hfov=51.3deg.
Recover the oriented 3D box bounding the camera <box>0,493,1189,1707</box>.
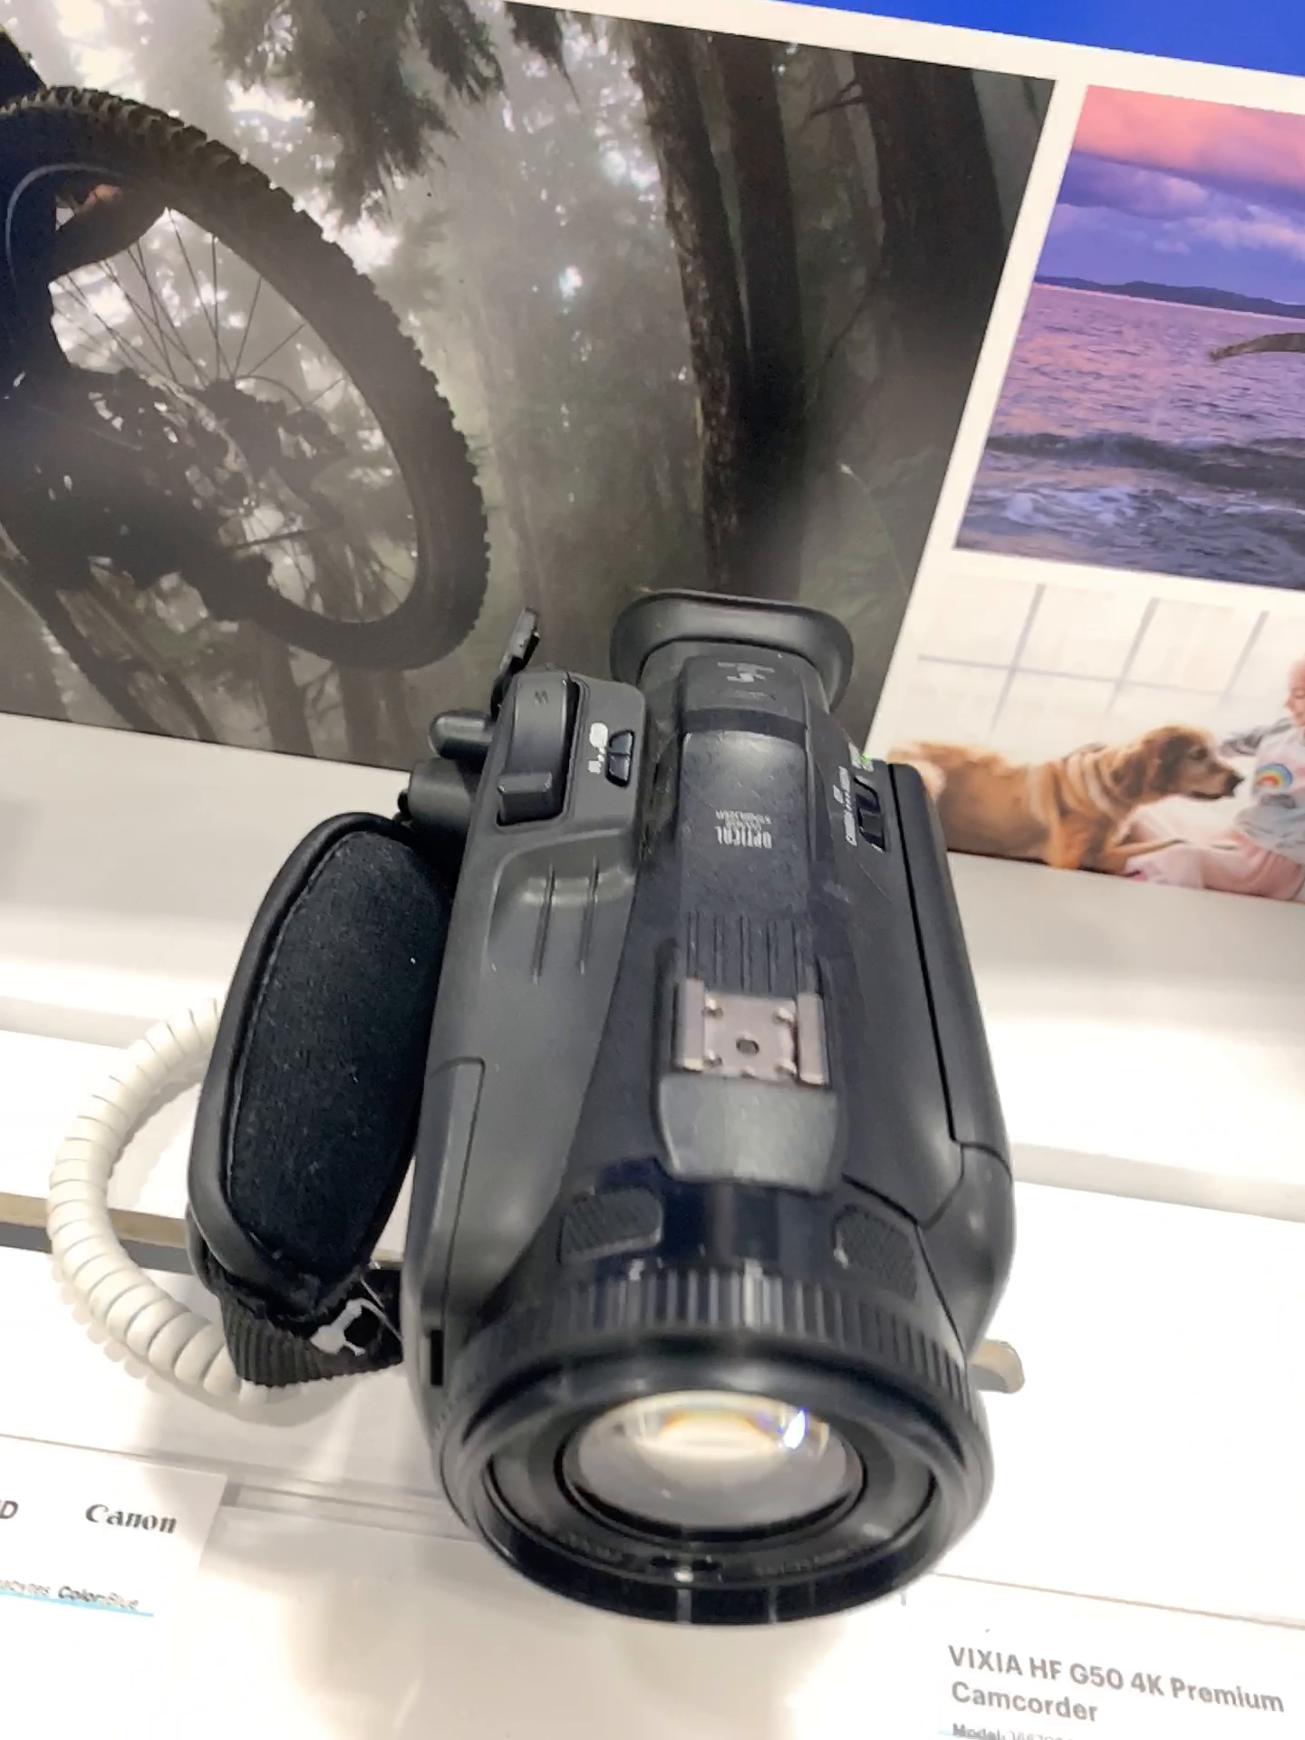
[{"bbox_3d":[-0.012,0.015,0.237,0.131,0.069,0.201,8,37,-4],"label":"camera"}]
